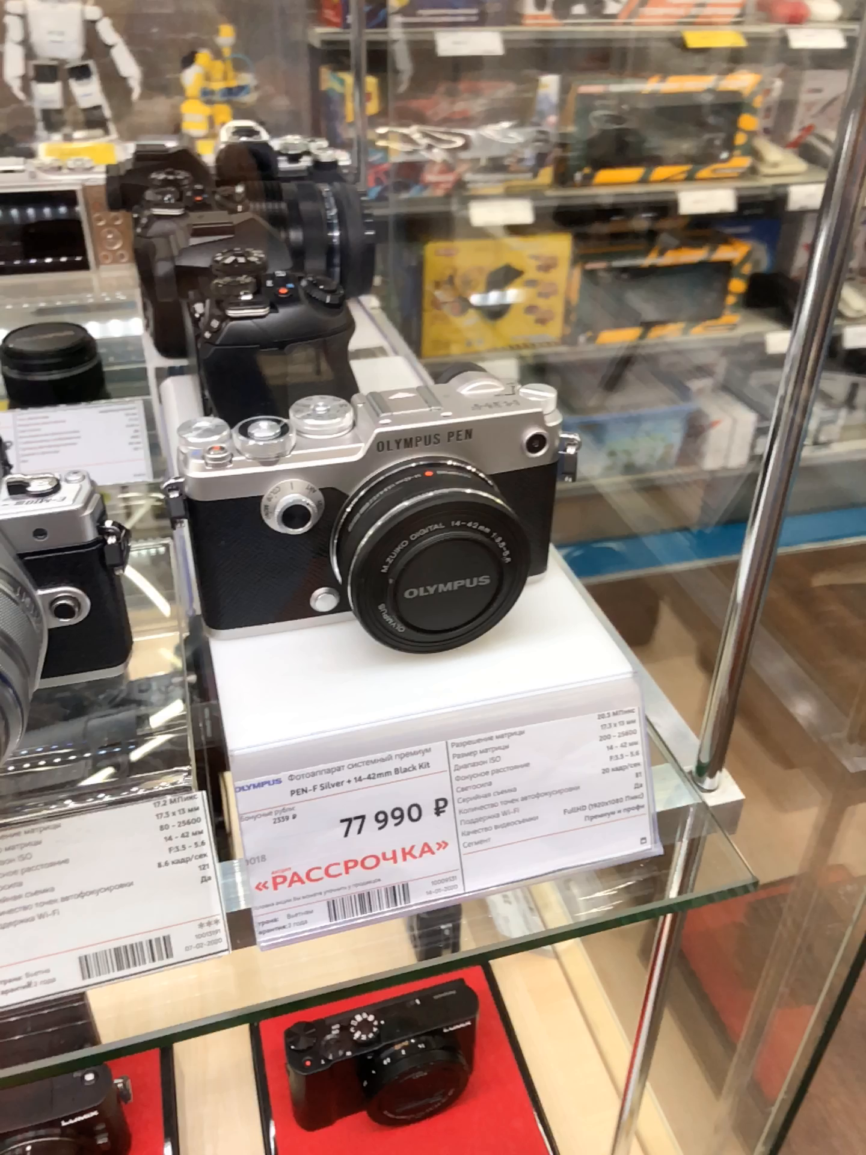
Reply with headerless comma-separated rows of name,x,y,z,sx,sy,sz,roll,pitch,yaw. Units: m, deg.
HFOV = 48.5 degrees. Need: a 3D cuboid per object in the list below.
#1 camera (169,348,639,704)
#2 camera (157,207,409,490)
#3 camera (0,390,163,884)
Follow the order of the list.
camera,-0.013,-0.022,0.313,0.127,0.070,0.077,-9,35,-16
camera,-0.068,-0.106,0.421,0.083,0.075,0.128,-9,35,-15
camera,-0.148,0.008,0.267,0.127,0.075,0.099,-8,35,-14
